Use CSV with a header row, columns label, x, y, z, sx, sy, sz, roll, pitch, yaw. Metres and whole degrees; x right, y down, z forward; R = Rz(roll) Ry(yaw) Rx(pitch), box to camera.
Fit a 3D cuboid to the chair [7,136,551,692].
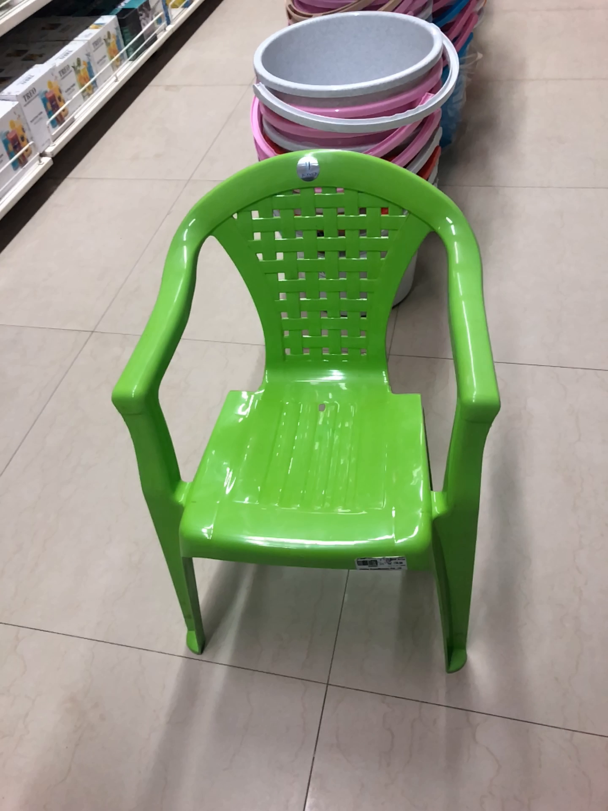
label,x,y,z,sx,sy,sz,roll,pitch,yaw
chair,0.018,0.037,0.723,0.360,0.517,0.312,2,48,10
